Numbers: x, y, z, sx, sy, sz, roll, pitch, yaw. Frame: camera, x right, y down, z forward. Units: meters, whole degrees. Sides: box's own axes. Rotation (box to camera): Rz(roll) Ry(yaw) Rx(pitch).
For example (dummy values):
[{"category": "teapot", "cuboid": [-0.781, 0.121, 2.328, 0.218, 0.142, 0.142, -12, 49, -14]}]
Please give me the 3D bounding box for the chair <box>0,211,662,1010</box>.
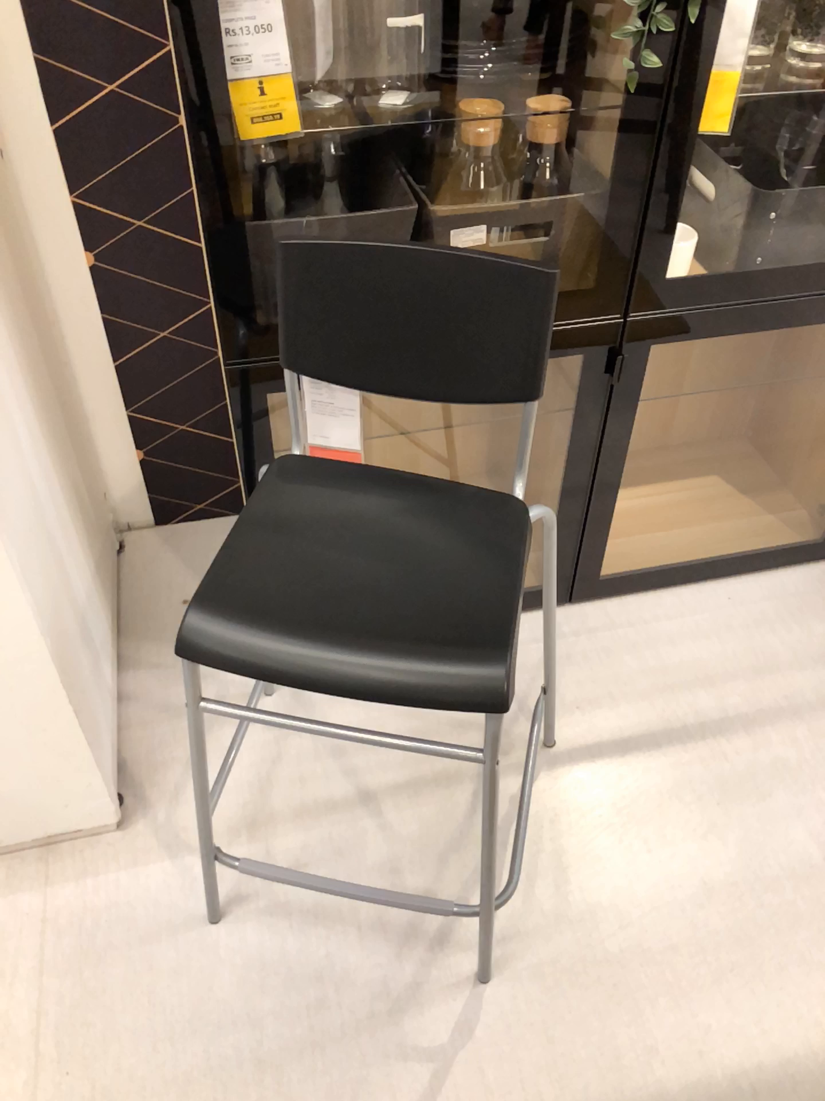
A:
[{"category": "chair", "cuboid": [-0.059, 0.096, 1.085, 0.540, 0.765, 0.483, 9, 45, 9]}]
